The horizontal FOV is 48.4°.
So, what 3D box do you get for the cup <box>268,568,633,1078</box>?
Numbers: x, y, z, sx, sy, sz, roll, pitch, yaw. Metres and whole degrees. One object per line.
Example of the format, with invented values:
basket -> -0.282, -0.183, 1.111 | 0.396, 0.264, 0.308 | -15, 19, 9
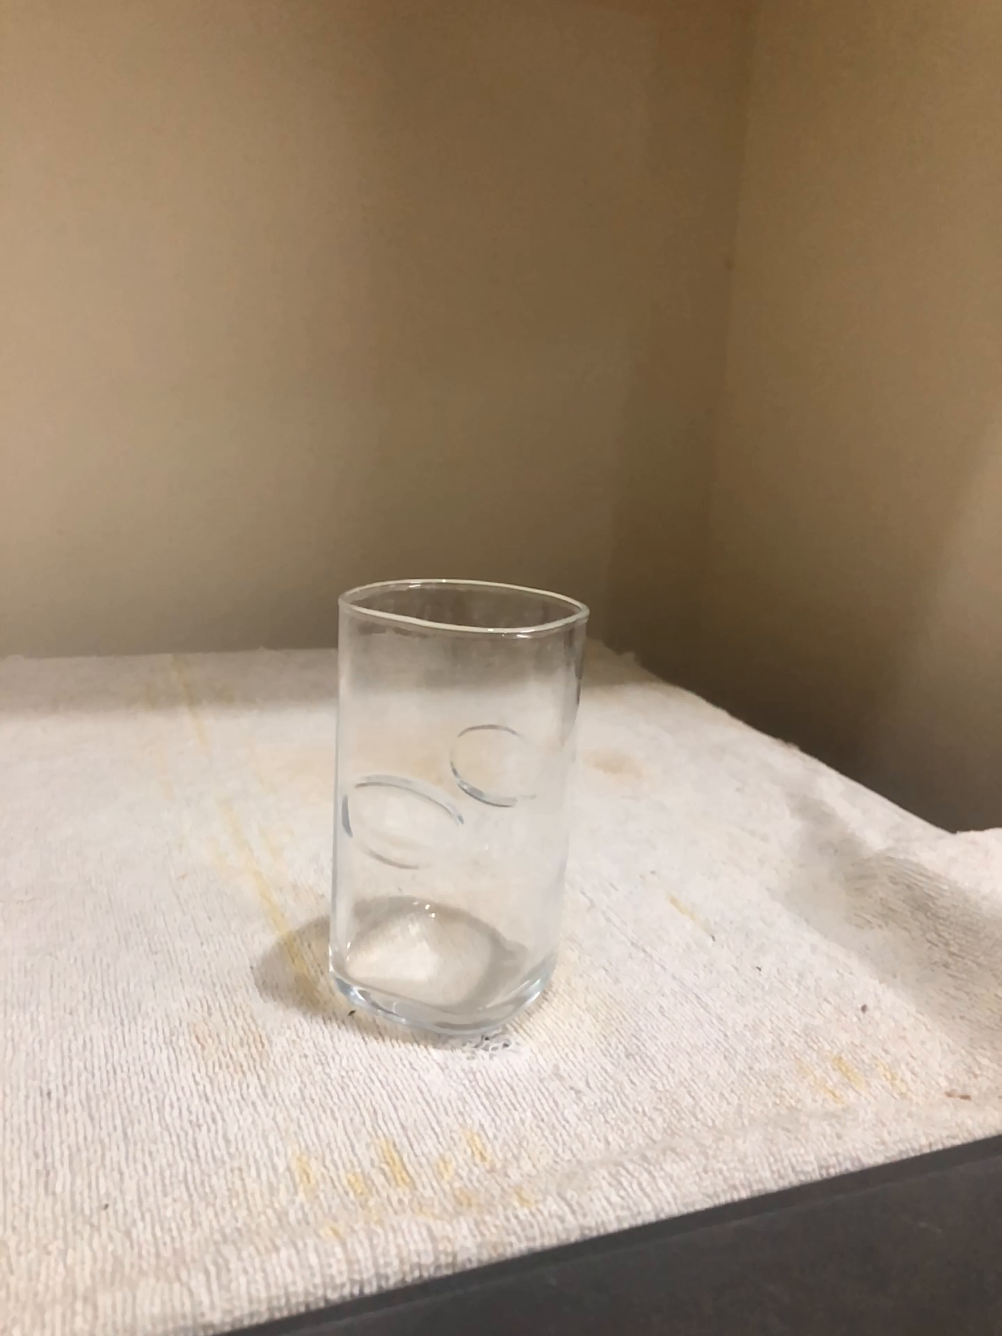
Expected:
cup -> -0.013, 0.035, 0.305 | 0.070, 0.110, 0.070 | 3, 13, -1
